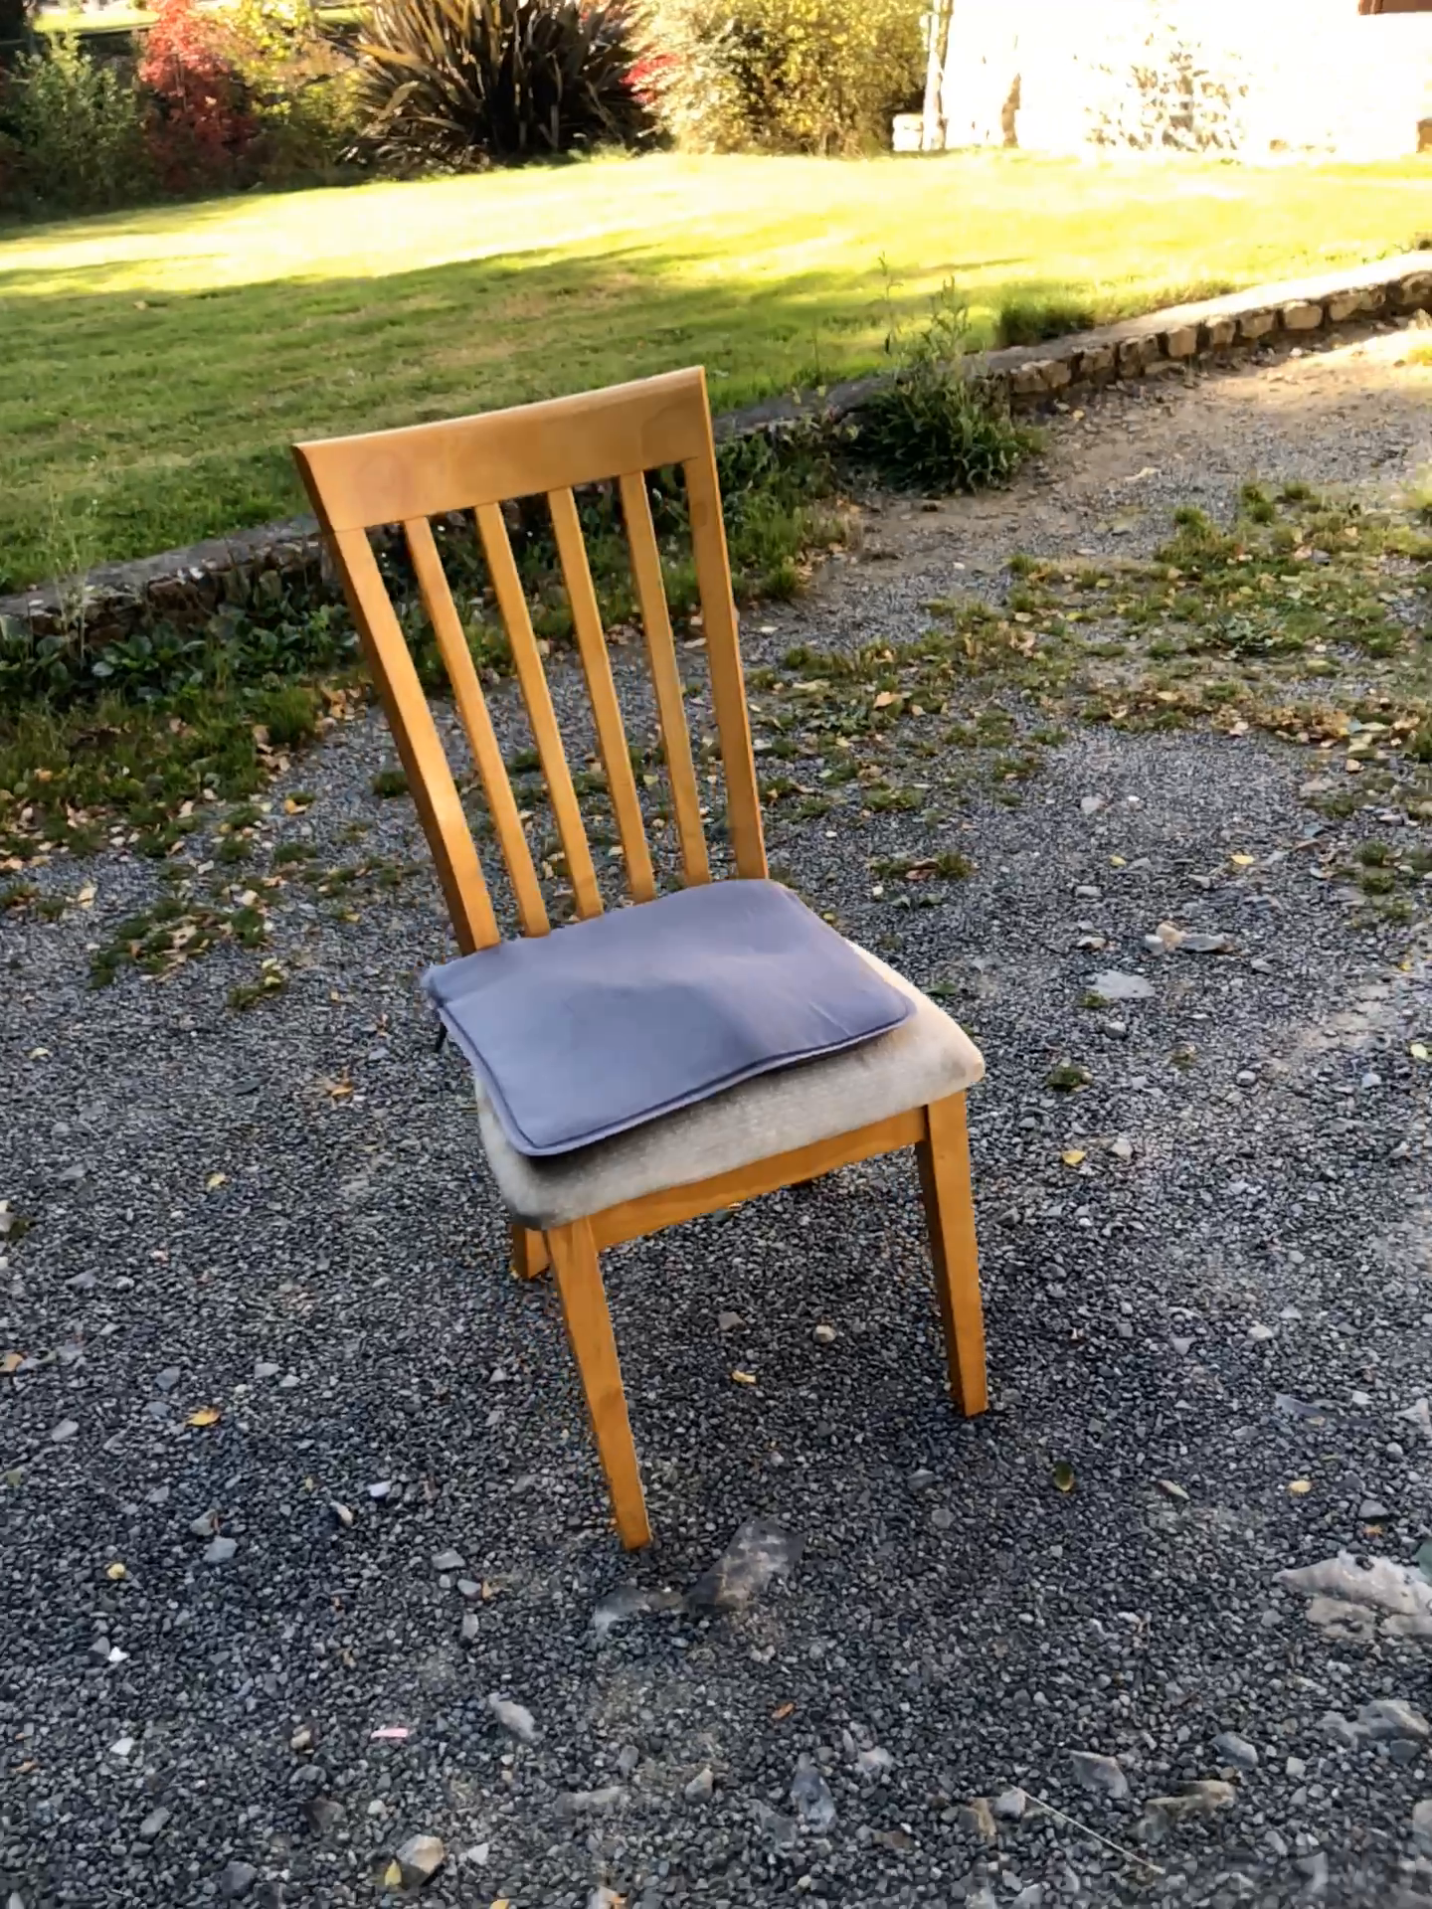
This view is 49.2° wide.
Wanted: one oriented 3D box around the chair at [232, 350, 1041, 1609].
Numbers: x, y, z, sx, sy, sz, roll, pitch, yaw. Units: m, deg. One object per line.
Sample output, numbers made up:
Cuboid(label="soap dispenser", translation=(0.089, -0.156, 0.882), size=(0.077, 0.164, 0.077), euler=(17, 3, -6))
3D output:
Cuboid(label="chair", translation=(-0.070, -0.008, 1.568), size=(0.511, 0.994, 0.612), euler=(-16, 31, -17))
